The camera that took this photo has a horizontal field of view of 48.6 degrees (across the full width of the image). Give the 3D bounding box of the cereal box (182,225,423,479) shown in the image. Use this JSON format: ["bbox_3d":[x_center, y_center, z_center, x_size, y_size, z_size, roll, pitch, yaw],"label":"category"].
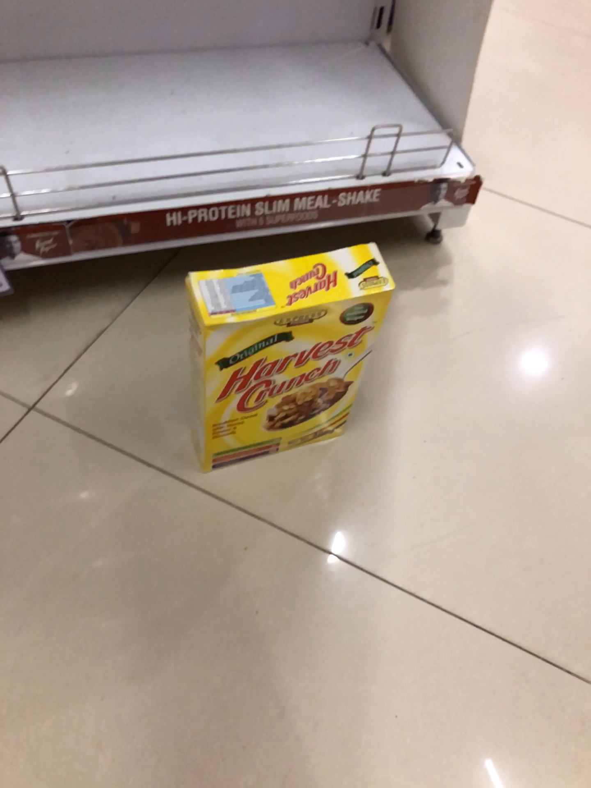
[{"bbox_3d":[-0.003,-0.026,0.535,0.160,0.209,0.050,-15,57,-17],"label":"cereal box"}]
